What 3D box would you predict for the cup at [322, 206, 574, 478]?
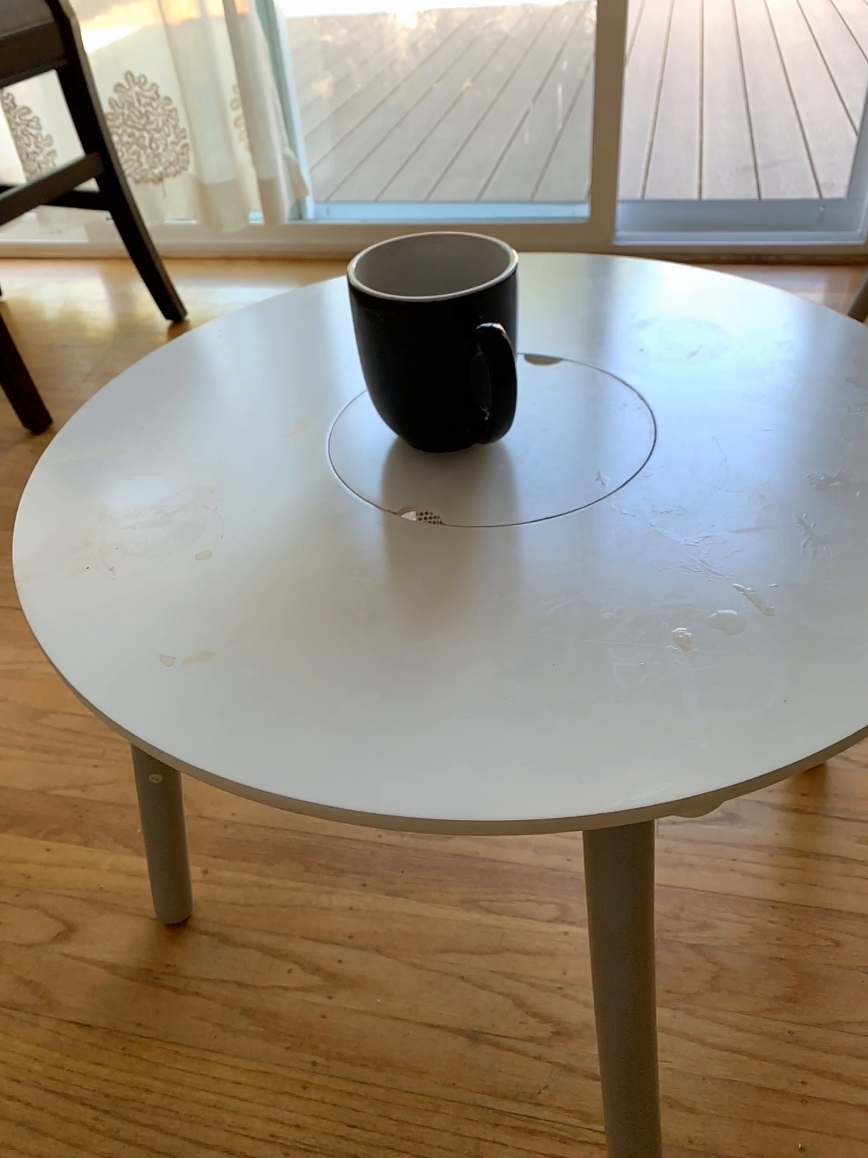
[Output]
[{"bbox_3d":[0.005,-0.146,0.531,0.100,0.090,0.141,-16,41,-12],"label":"cup"}]
